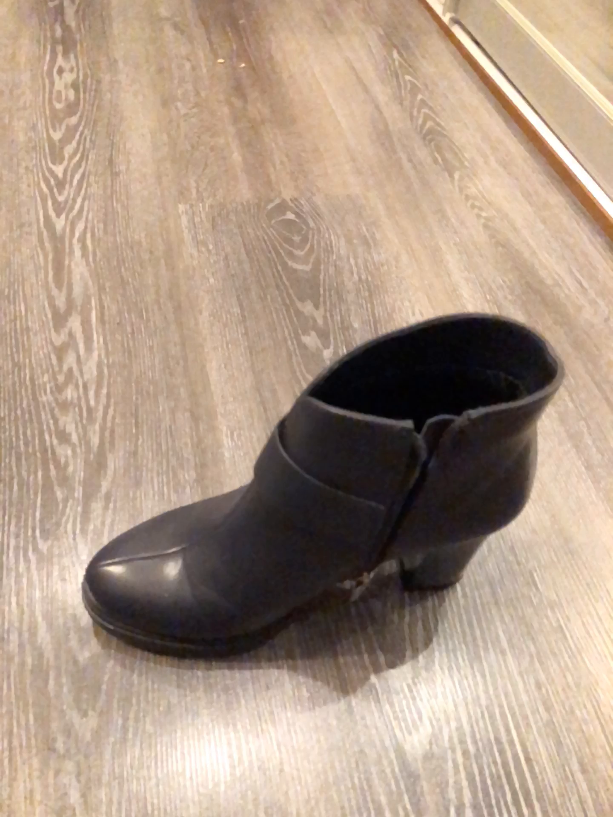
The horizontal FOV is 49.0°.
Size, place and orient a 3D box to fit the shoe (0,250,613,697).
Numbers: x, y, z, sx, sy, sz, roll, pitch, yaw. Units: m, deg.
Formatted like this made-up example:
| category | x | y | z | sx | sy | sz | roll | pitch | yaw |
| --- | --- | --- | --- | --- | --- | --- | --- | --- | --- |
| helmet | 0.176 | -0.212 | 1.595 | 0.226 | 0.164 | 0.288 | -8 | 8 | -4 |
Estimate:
| category | x | y | z | sx | sy | sz | roll | pitch | yaw |
| --- | --- | --- | --- | --- | --- | --- | --- | --- | --- |
| shoe | -0.006 | 0.038 | 0.327 | 0.240 | 0.189 | 0.090 | -8 | 52 | -12 |
